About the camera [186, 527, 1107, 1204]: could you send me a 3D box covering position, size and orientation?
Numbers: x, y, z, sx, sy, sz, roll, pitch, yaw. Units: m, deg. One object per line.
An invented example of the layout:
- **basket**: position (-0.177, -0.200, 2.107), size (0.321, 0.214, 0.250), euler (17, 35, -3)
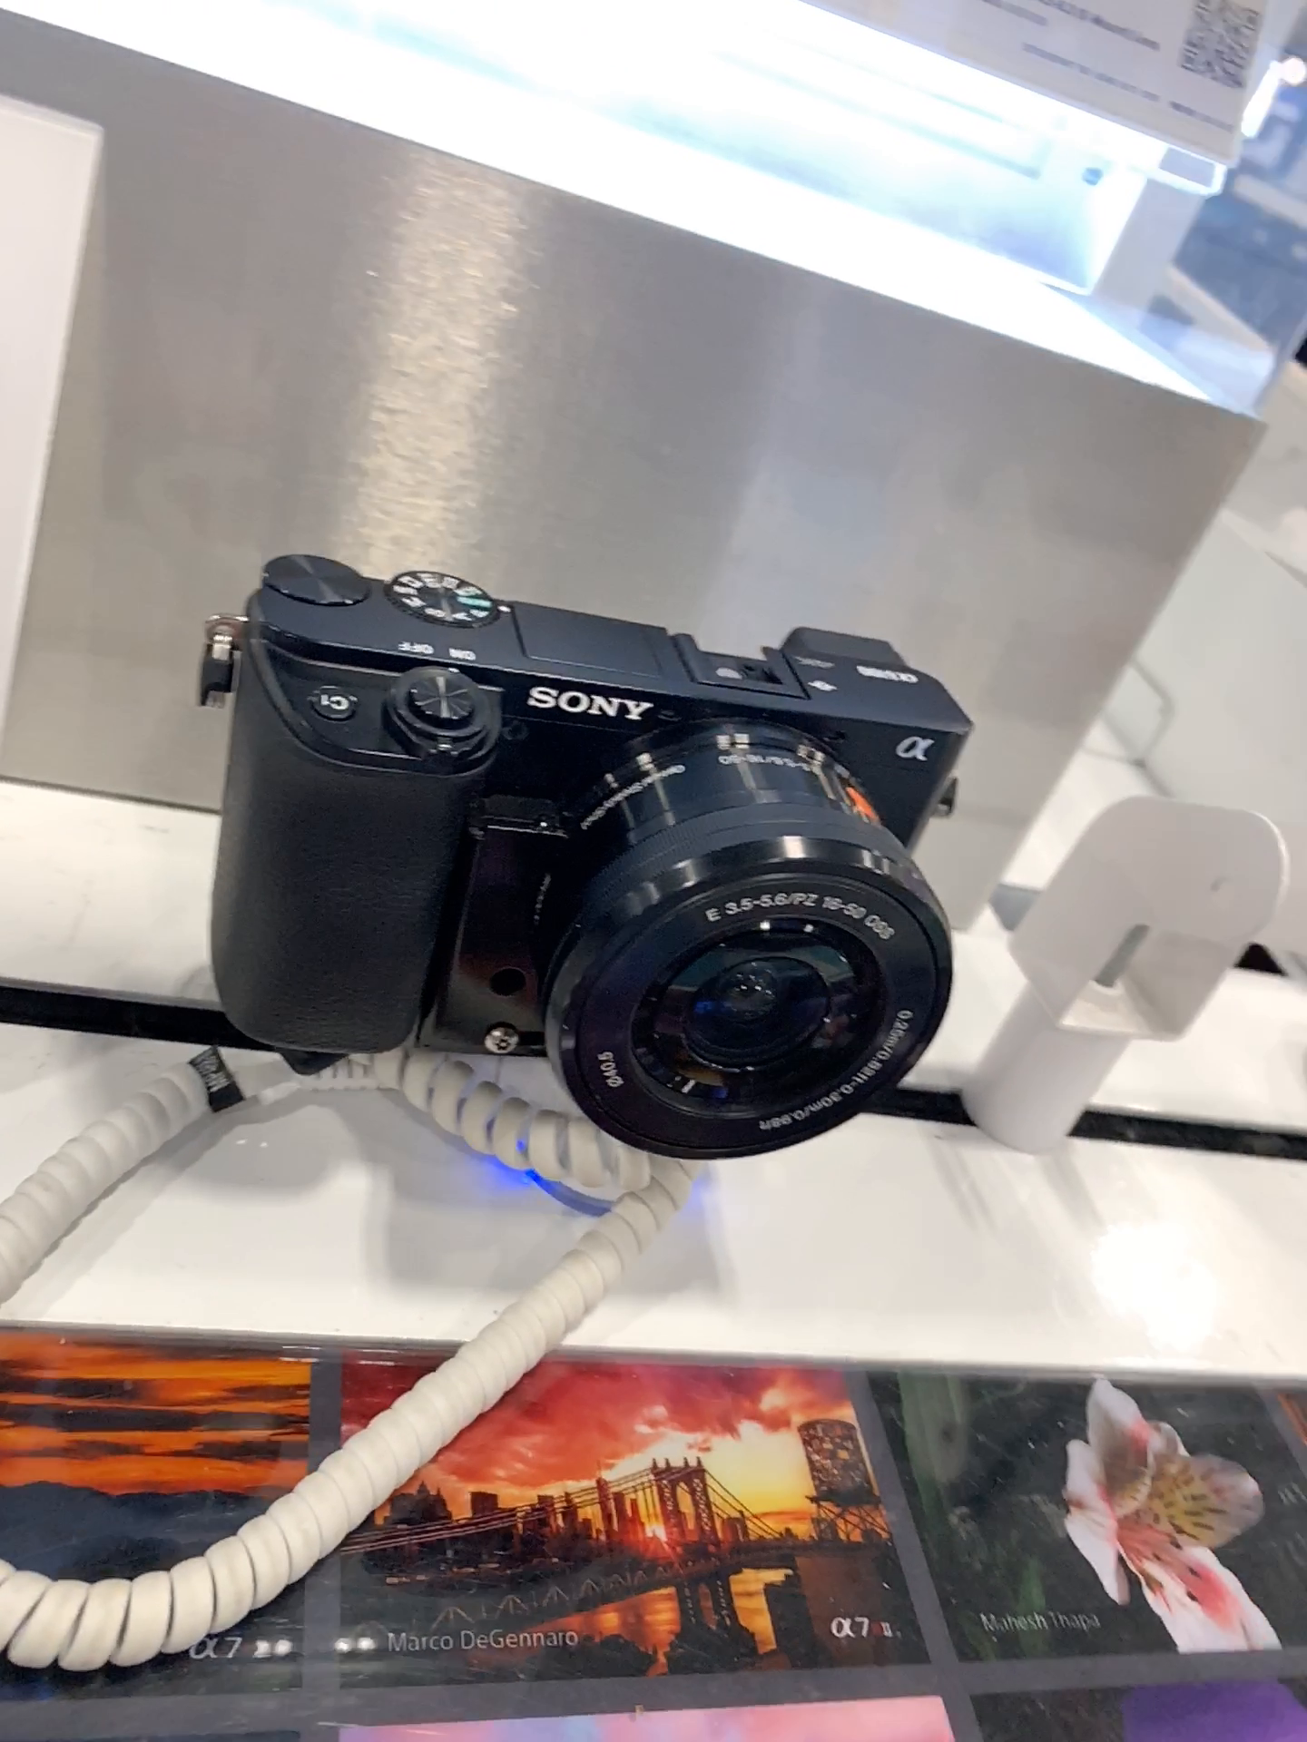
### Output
- **camera**: position (-0.007, 0.002, 0.224), size (0.121, 0.070, 0.070), euler (4, 38, -25)
